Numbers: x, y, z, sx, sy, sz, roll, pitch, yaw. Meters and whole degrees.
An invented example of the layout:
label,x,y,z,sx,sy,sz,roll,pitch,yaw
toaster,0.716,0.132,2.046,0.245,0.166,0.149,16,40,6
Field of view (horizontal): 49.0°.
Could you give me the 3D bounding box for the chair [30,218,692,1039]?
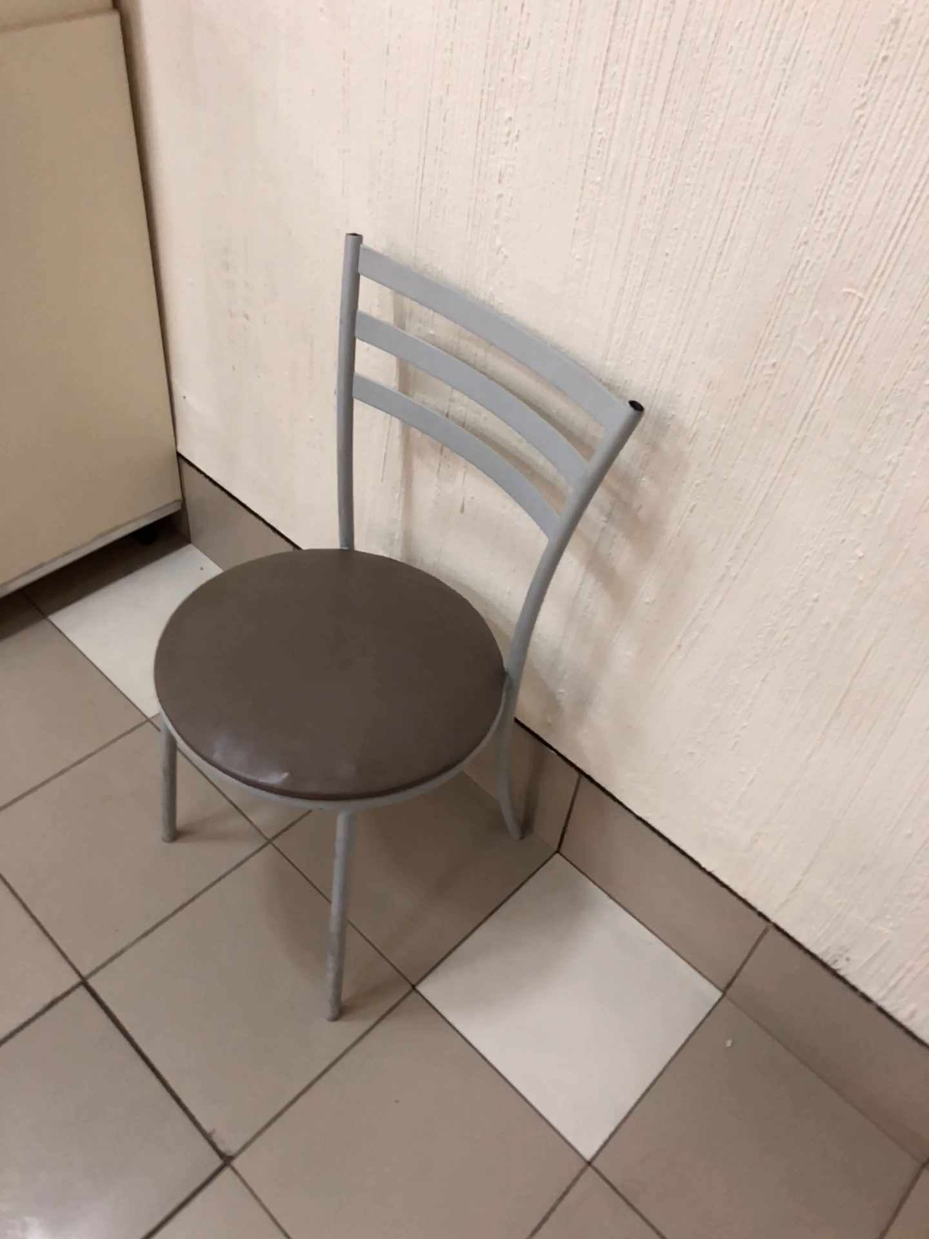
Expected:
label,x,y,z,sx,sy,sz,roll,pitch,yaw
chair,-0.125,0.034,1.200,0.431,0.765,0.422,36,51,25
